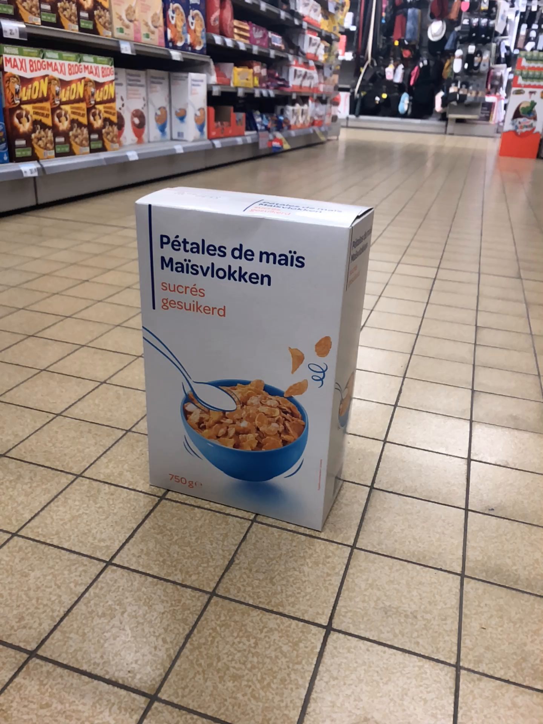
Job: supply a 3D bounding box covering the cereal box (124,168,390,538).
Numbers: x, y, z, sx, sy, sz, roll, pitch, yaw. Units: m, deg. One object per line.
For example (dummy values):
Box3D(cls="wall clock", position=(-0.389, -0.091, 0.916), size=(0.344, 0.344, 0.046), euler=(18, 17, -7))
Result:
Box3D(cls="cereal box", position=(-0.016, -0.015, 0.565), size=(0.200, 0.298, 0.111), euler=(11, 24, 18))
